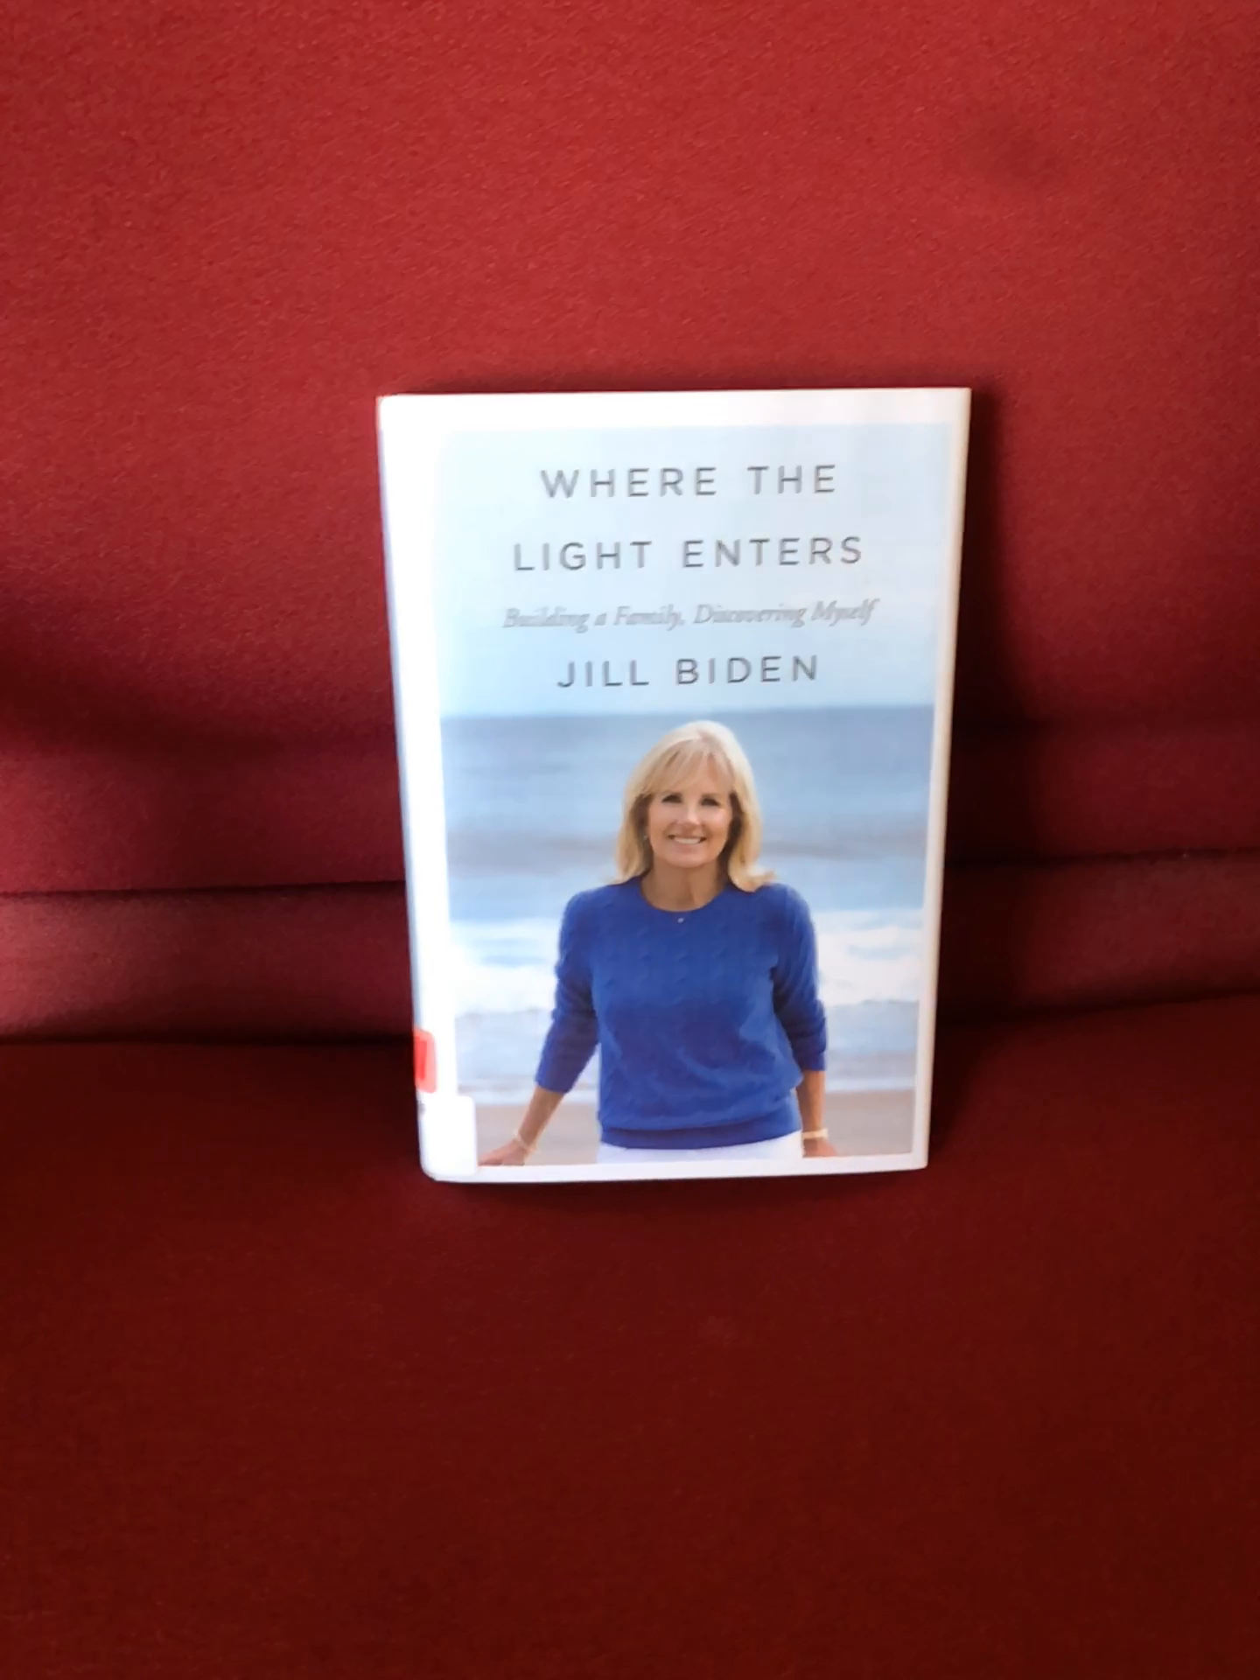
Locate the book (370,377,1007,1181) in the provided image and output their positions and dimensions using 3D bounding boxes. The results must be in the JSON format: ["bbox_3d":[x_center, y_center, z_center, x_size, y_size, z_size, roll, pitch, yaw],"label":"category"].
[{"bbox_3d":[0.014,-0.012,0.371,0.150,0.210,0.030,-1,16,-2],"label":"book"}]
